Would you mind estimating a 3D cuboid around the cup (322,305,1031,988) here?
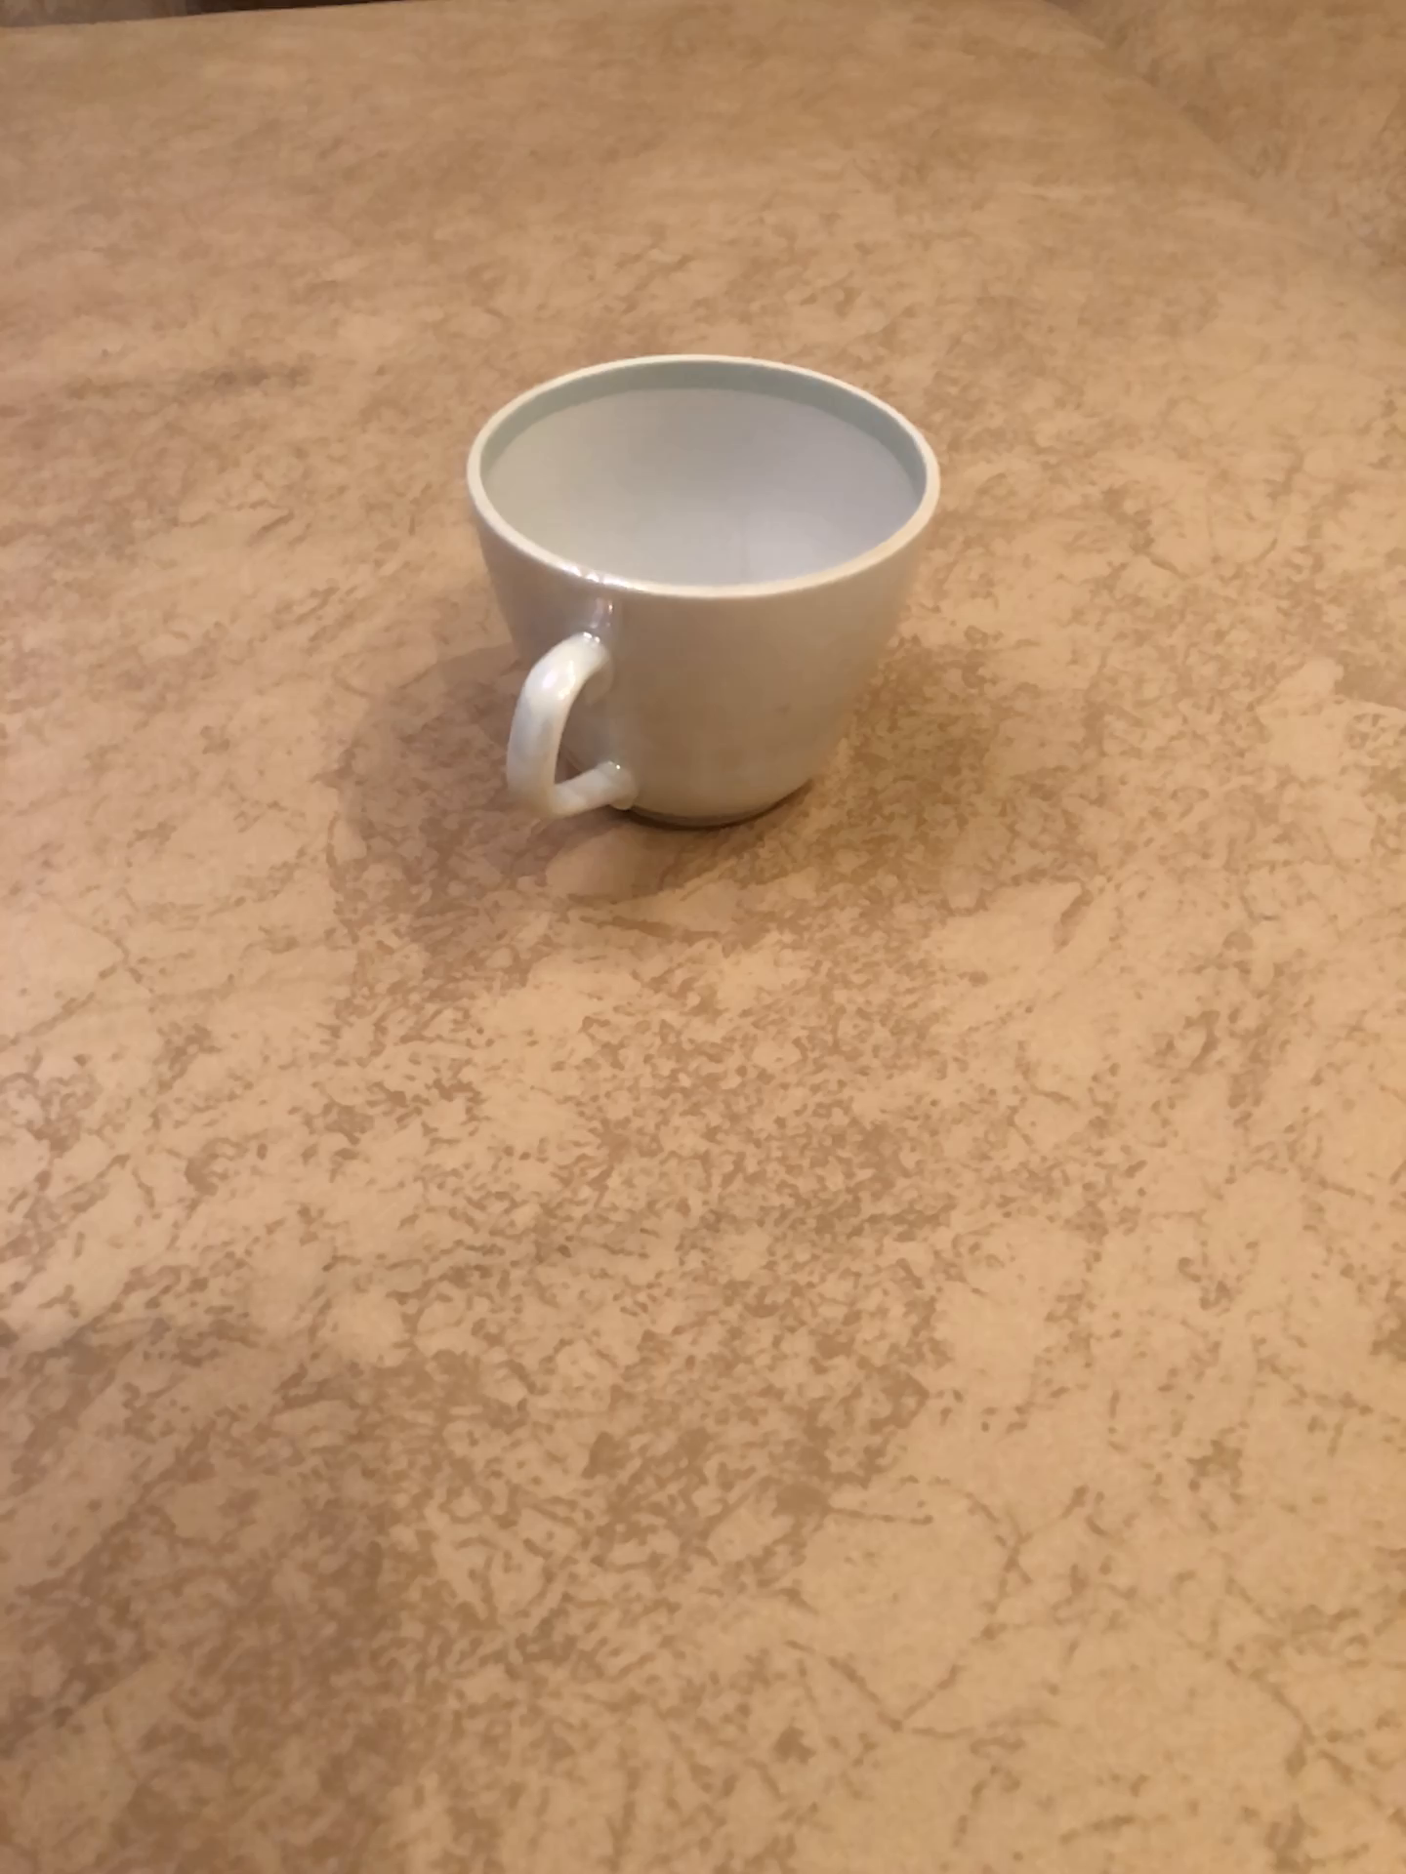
[{"bbox_3d":[-0.001,-0.062,0.299,0.090,0.060,0.110,19,47,14],"label":"cup"}]
